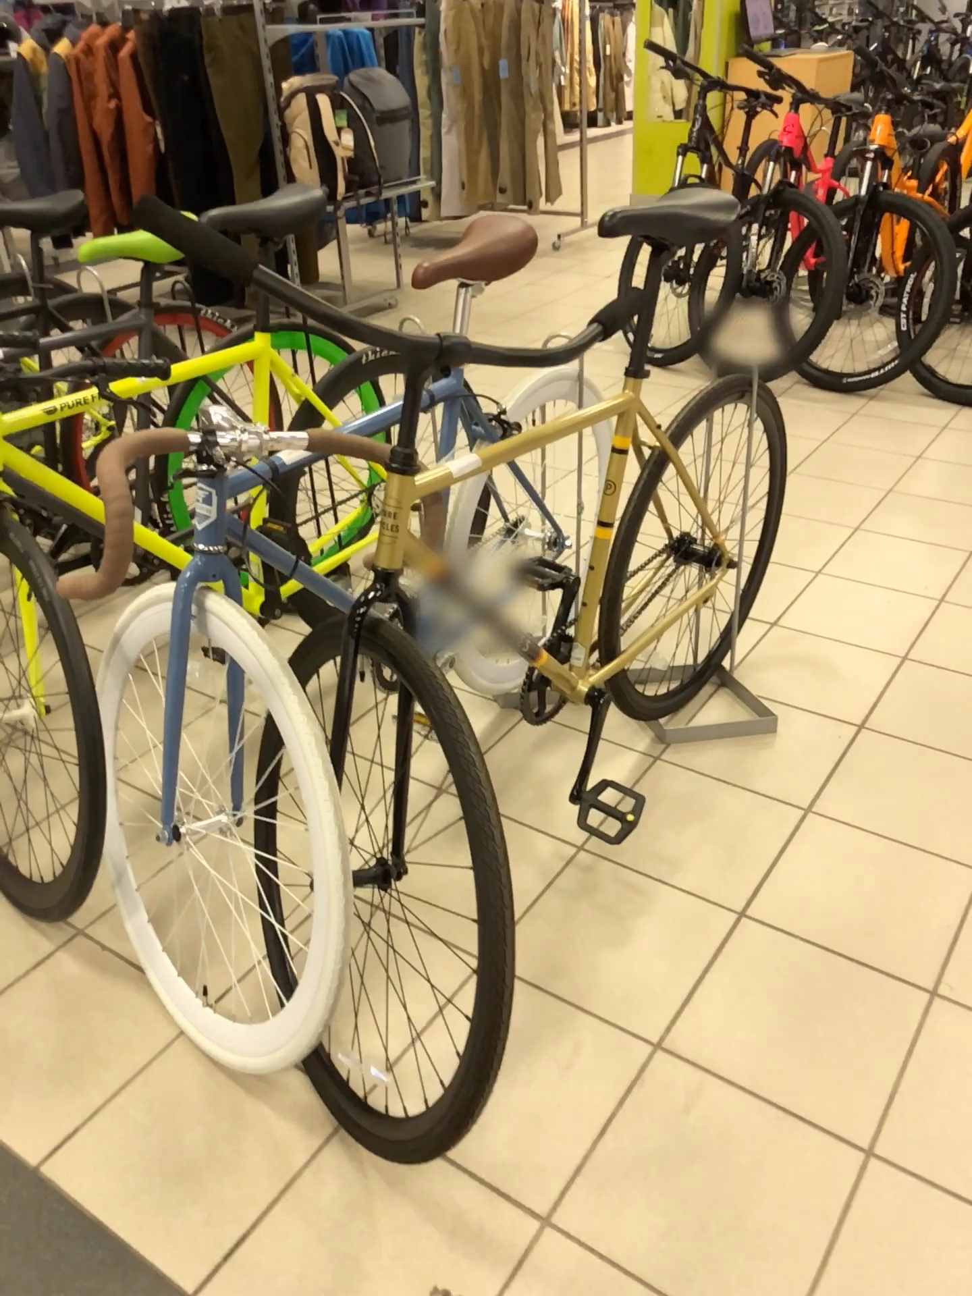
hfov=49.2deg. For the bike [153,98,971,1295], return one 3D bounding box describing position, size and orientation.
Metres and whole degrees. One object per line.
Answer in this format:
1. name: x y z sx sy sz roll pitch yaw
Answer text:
1. bike: 0.287 -0.043 1.606 0.672 1.091 1.471 10 38 23
